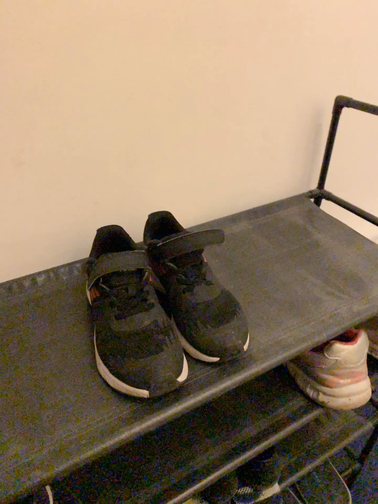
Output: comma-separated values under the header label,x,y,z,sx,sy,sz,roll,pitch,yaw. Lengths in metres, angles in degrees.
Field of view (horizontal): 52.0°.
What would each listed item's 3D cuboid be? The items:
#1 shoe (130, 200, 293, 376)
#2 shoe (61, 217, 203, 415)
label,x,y,z,sx,sy,sz,roll,pitch,yaw
shoe,0.012,0.025,0.442,0.090,0.079,0.201,-15,36,-22
shoe,-0.069,0.051,0.415,0.090,0.079,0.202,-13,36,-19
